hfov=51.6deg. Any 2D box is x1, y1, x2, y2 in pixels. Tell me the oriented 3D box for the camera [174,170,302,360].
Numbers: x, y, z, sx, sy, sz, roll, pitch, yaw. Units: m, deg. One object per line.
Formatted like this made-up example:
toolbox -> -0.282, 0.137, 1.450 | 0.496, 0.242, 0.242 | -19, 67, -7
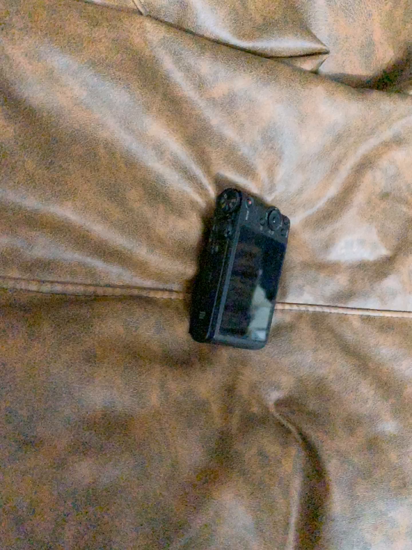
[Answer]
camera -> 0.022, -0.003, 0.260 | 0.060, 0.024, 0.100 | 16, 82, -37
